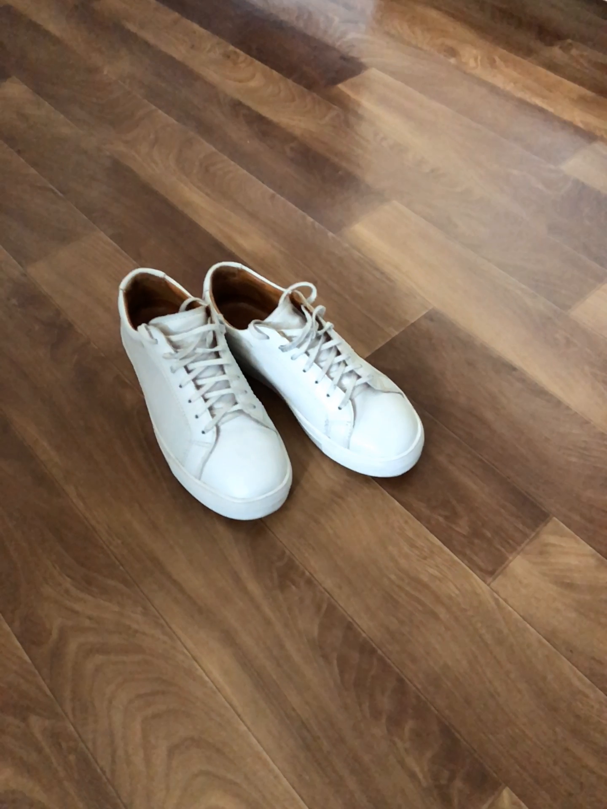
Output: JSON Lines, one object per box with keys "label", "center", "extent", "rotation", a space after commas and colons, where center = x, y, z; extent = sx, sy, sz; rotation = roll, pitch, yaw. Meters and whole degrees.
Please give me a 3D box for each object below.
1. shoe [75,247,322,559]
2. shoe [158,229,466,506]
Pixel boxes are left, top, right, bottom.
{"label": "shoe", "center": [-0.104, -0.013, 0.628], "extent": [0.110, 0.090, 0.281], "rotation": [-26, 58, -17]}
{"label": "shoe", "center": [0.000, -0.044, 0.644], "extent": [0.281, 0.090, 0.110], "rotation": [37, 62, 24]}
